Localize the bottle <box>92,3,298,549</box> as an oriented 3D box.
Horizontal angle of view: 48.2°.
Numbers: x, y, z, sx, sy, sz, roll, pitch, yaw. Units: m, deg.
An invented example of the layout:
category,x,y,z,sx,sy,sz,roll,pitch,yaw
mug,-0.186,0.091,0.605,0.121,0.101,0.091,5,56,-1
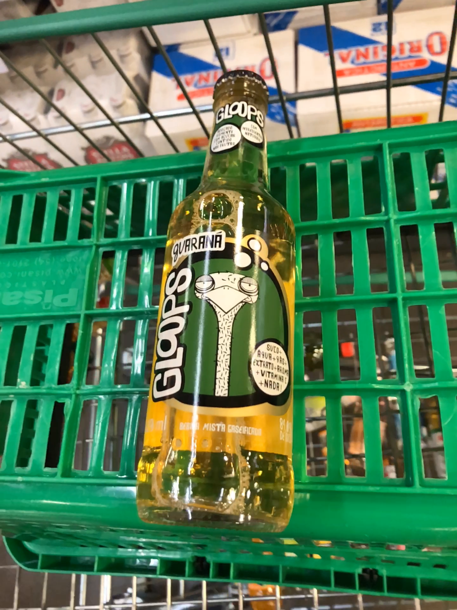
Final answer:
category,x,y,z,sx,sy,sz,roll,pitch,yaw
bottle,-0.004,-0.022,0.219,0.060,0.050,0.221,-2,69,14
